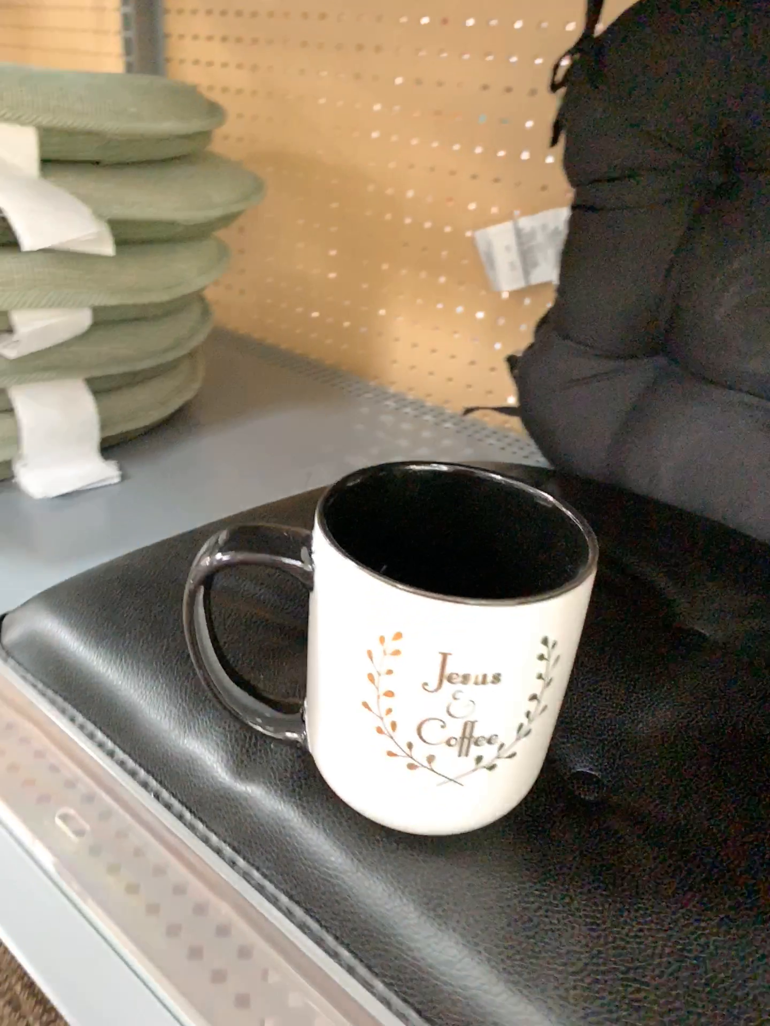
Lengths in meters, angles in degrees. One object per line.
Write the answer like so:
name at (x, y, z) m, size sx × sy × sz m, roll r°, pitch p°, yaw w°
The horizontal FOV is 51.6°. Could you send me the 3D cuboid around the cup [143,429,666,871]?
cup at (0.003, 0.042, 0.283) m, size 0.142 × 0.104 × 0.102 m, roll 5°, pitch 26°, yaw 0°
